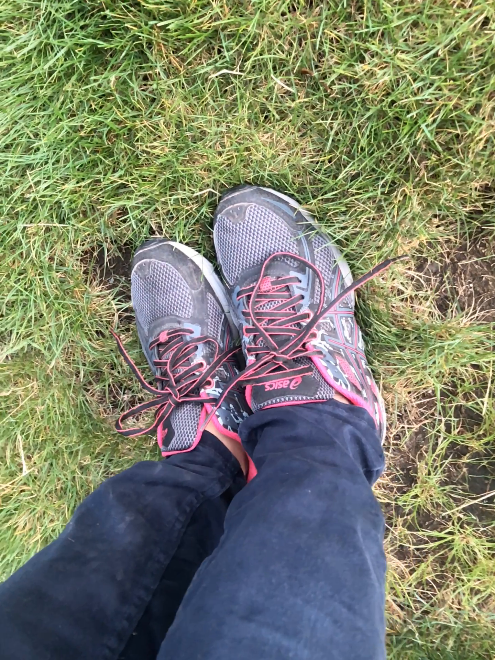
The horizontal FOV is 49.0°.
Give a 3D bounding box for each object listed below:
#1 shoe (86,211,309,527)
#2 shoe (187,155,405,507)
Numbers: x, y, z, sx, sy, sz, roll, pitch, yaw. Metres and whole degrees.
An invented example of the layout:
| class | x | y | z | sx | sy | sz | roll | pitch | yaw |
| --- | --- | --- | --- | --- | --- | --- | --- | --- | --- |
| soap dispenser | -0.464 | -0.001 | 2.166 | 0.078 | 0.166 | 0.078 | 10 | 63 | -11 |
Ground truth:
| class | x | y | z | sx | sy | sz | roll | pitch | yaw |
| --- | --- | --- | --- | --- | --- | --- | --- | --- | --- |
| shoe | -0.036 | 0.029 | 0.491 | 0.088 | 0.120 | 0.245 | -17 | 92 | 23 |
| shoe | 0.051 | -0.001 | 0.458 | 0.090 | 0.120 | 0.250 | -16 | 95 | 20 |
